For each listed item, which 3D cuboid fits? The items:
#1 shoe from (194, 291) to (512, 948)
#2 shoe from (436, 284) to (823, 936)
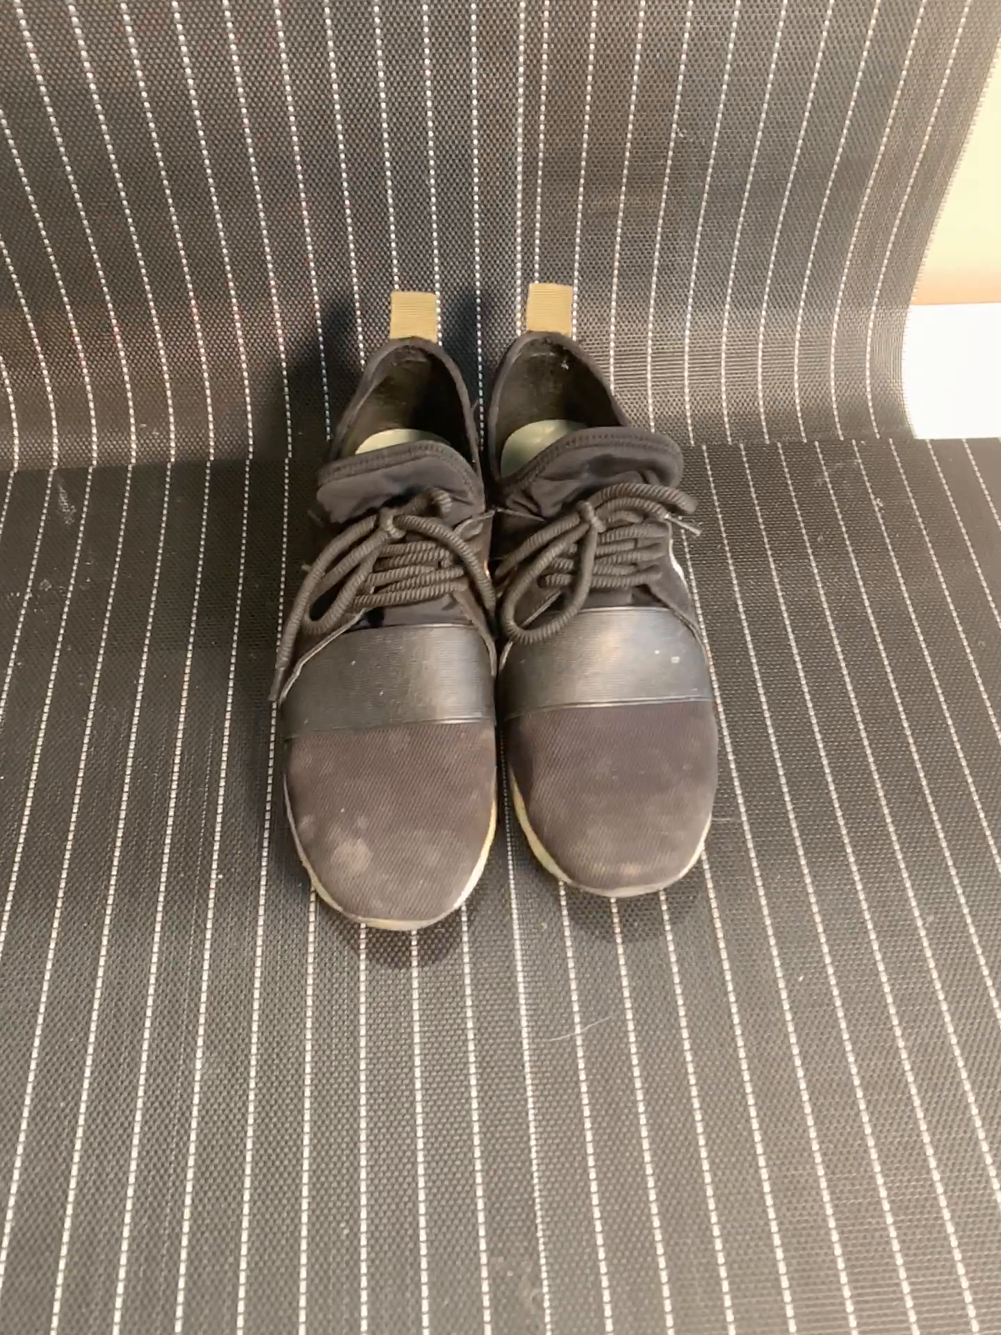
[{"bbox_3d":[-0.052,-0.034,0.432,0.100,0.080,0.281,-1,58,-2],"label":"shoe"},{"bbox_3d":[0.038,-0.039,0.453,0.100,0.090,0.281,-6,58,-5],"label":"shoe"}]
